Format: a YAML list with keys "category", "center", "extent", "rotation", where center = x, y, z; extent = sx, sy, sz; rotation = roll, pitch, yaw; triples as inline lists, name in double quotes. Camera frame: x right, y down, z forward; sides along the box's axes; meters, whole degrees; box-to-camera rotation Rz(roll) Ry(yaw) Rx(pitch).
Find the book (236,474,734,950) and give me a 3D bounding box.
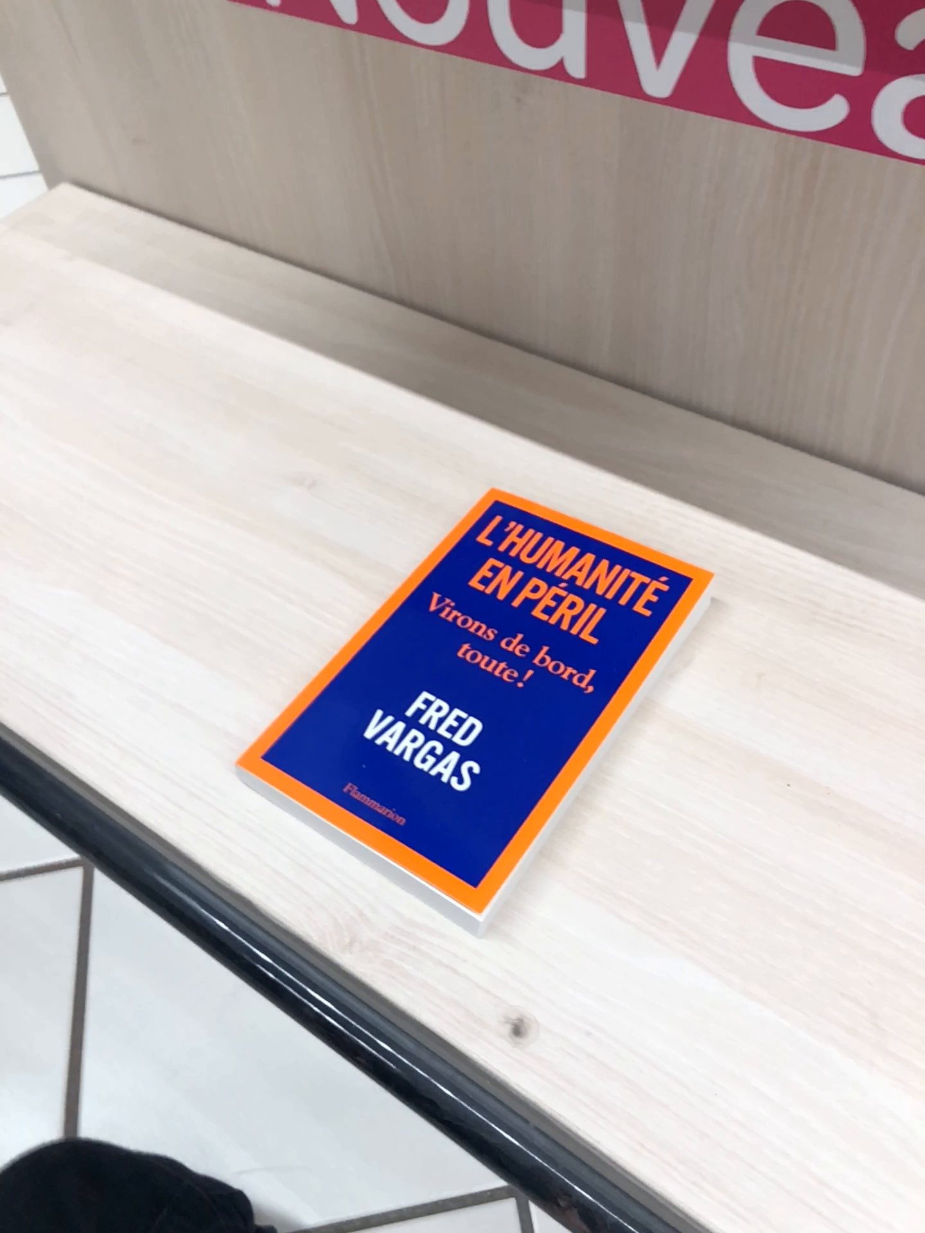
- category: "book"
  center: [0.017, 0.029, 0.480]
  extent: [0.137, 0.030, 0.208]
  rotation: [26, 57, 24]
